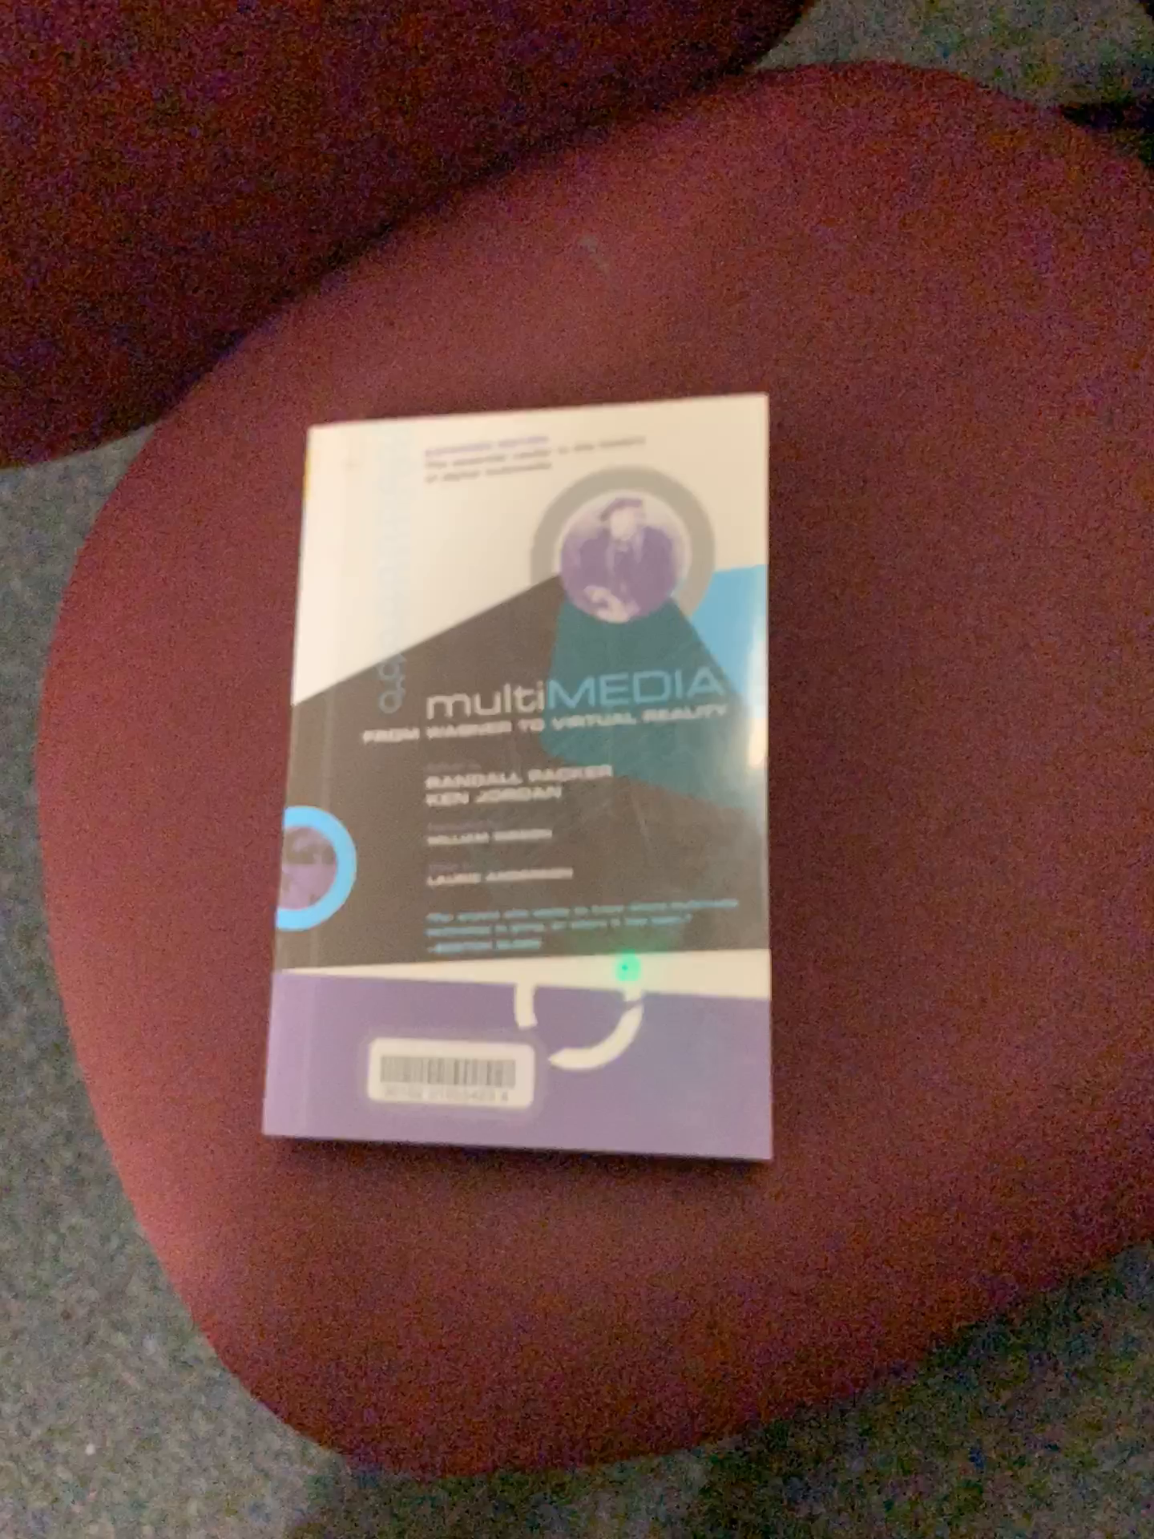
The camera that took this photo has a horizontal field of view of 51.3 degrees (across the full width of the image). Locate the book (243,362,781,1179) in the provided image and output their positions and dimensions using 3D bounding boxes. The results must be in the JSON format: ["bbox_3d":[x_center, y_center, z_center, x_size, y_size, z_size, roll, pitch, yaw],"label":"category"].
[{"bbox_3d":[-0.017,-0.002,0.393,0.160,0.040,0.248,-1,78,12],"label":"book"}]
